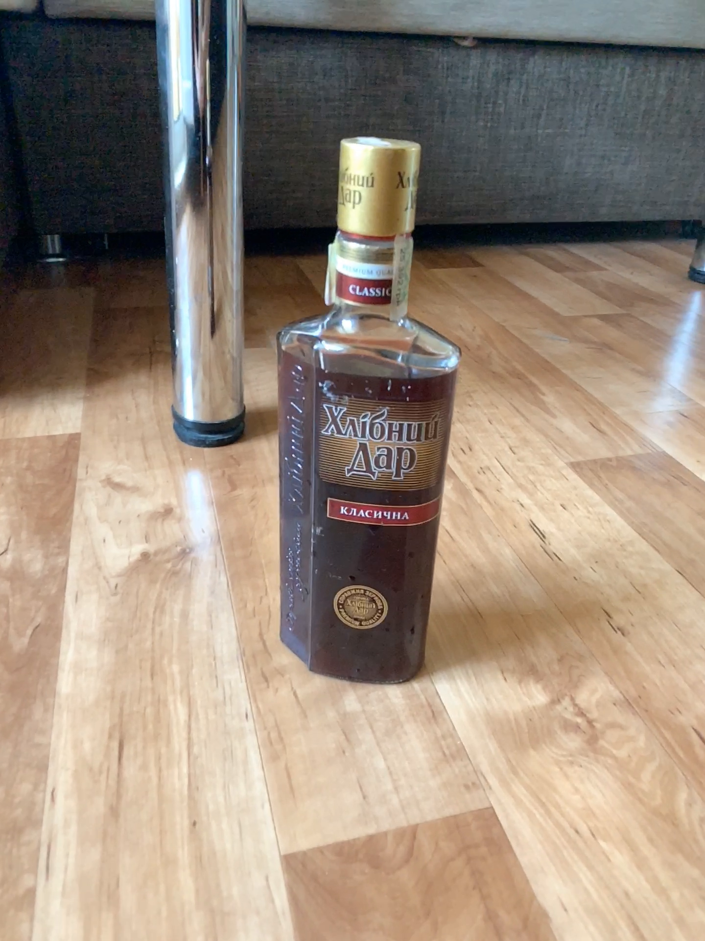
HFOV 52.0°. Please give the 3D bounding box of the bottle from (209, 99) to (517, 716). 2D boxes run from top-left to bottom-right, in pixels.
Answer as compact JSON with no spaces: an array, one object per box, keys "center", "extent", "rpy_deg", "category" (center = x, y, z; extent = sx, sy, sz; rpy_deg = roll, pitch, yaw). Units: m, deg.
[{"center":[0.000,-0.015,0.298],"extent":[0.090,0.239,0.050],"rpy_deg":[13,31,18],"category":"bottle"}]
